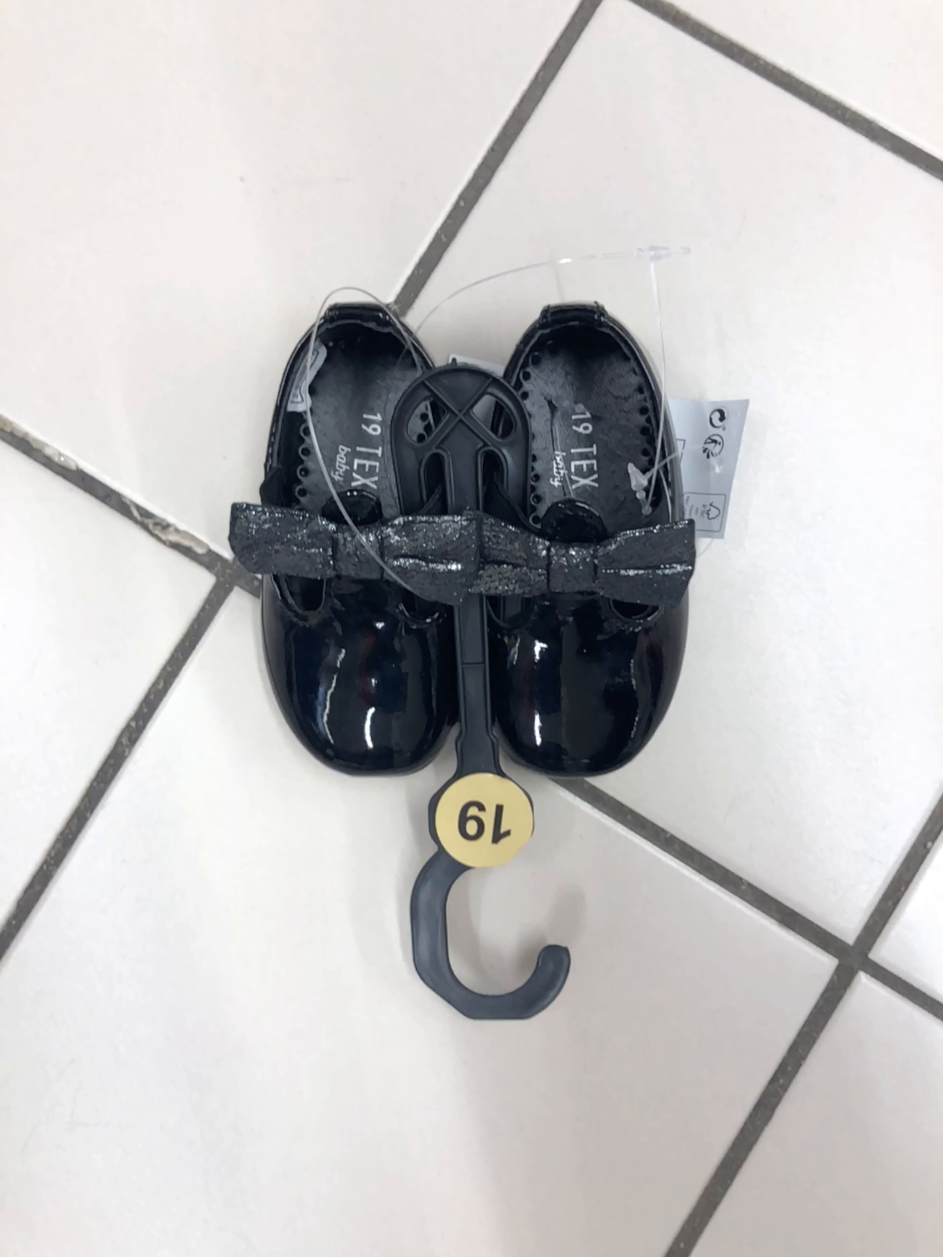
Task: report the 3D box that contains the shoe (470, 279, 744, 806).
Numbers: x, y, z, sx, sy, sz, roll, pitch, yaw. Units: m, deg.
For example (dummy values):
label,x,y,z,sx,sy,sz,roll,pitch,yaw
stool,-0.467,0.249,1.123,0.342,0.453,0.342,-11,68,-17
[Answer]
label,x,y,z,sx,sy,sz,roll,pitch,yaw
shoe,0.032,-0.020,0.262,0.061,0.037,0.123,-1,87,2

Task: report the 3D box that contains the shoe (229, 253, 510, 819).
label,x,y,z,sx,sy,sz,roll,pitch,yaw
shoe,-0.022,-0.020,0.257,0.061,0.053,0.125,-1,87,2
